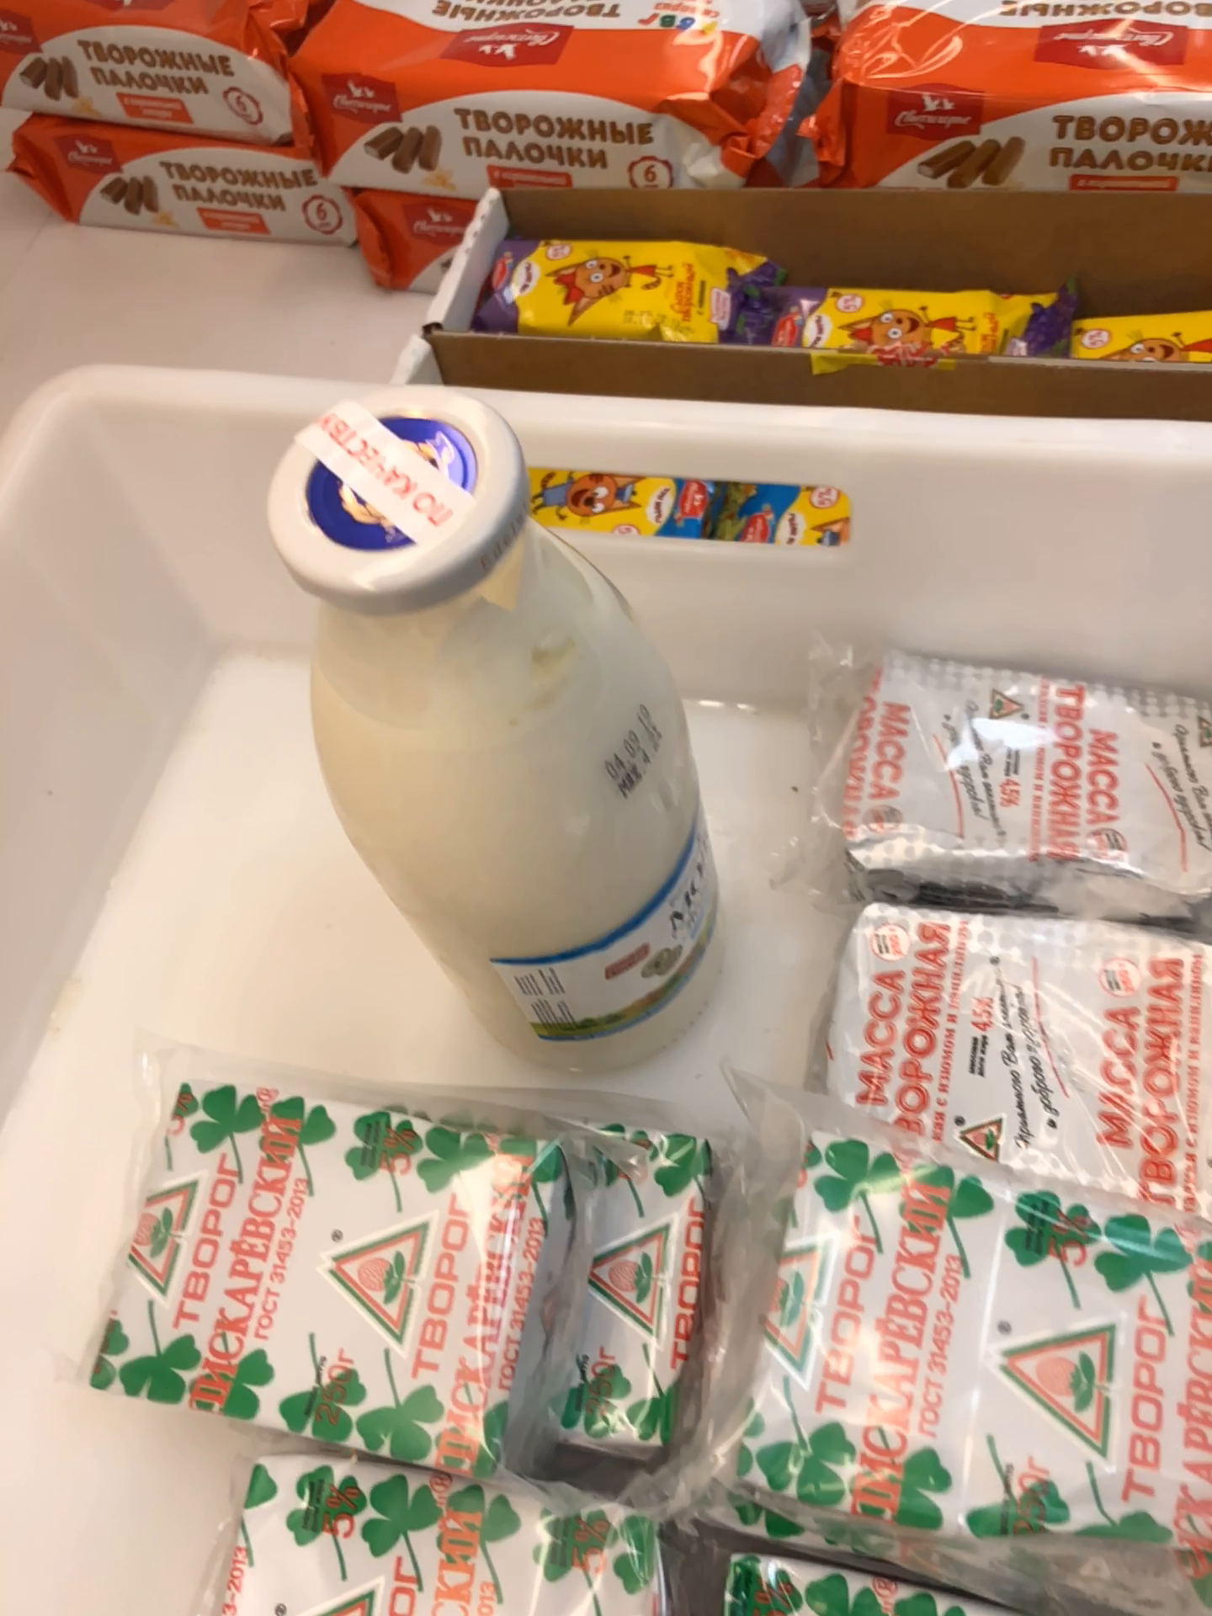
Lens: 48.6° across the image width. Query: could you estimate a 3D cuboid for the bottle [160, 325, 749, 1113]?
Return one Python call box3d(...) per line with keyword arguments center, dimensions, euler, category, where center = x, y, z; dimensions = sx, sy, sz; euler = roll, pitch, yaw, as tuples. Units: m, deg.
box3d(center=(-0.013, -0.001, 0.320), dimensions=(0.072, 0.220, 0.071), euler=(-5, 59, 8), category="bottle")
